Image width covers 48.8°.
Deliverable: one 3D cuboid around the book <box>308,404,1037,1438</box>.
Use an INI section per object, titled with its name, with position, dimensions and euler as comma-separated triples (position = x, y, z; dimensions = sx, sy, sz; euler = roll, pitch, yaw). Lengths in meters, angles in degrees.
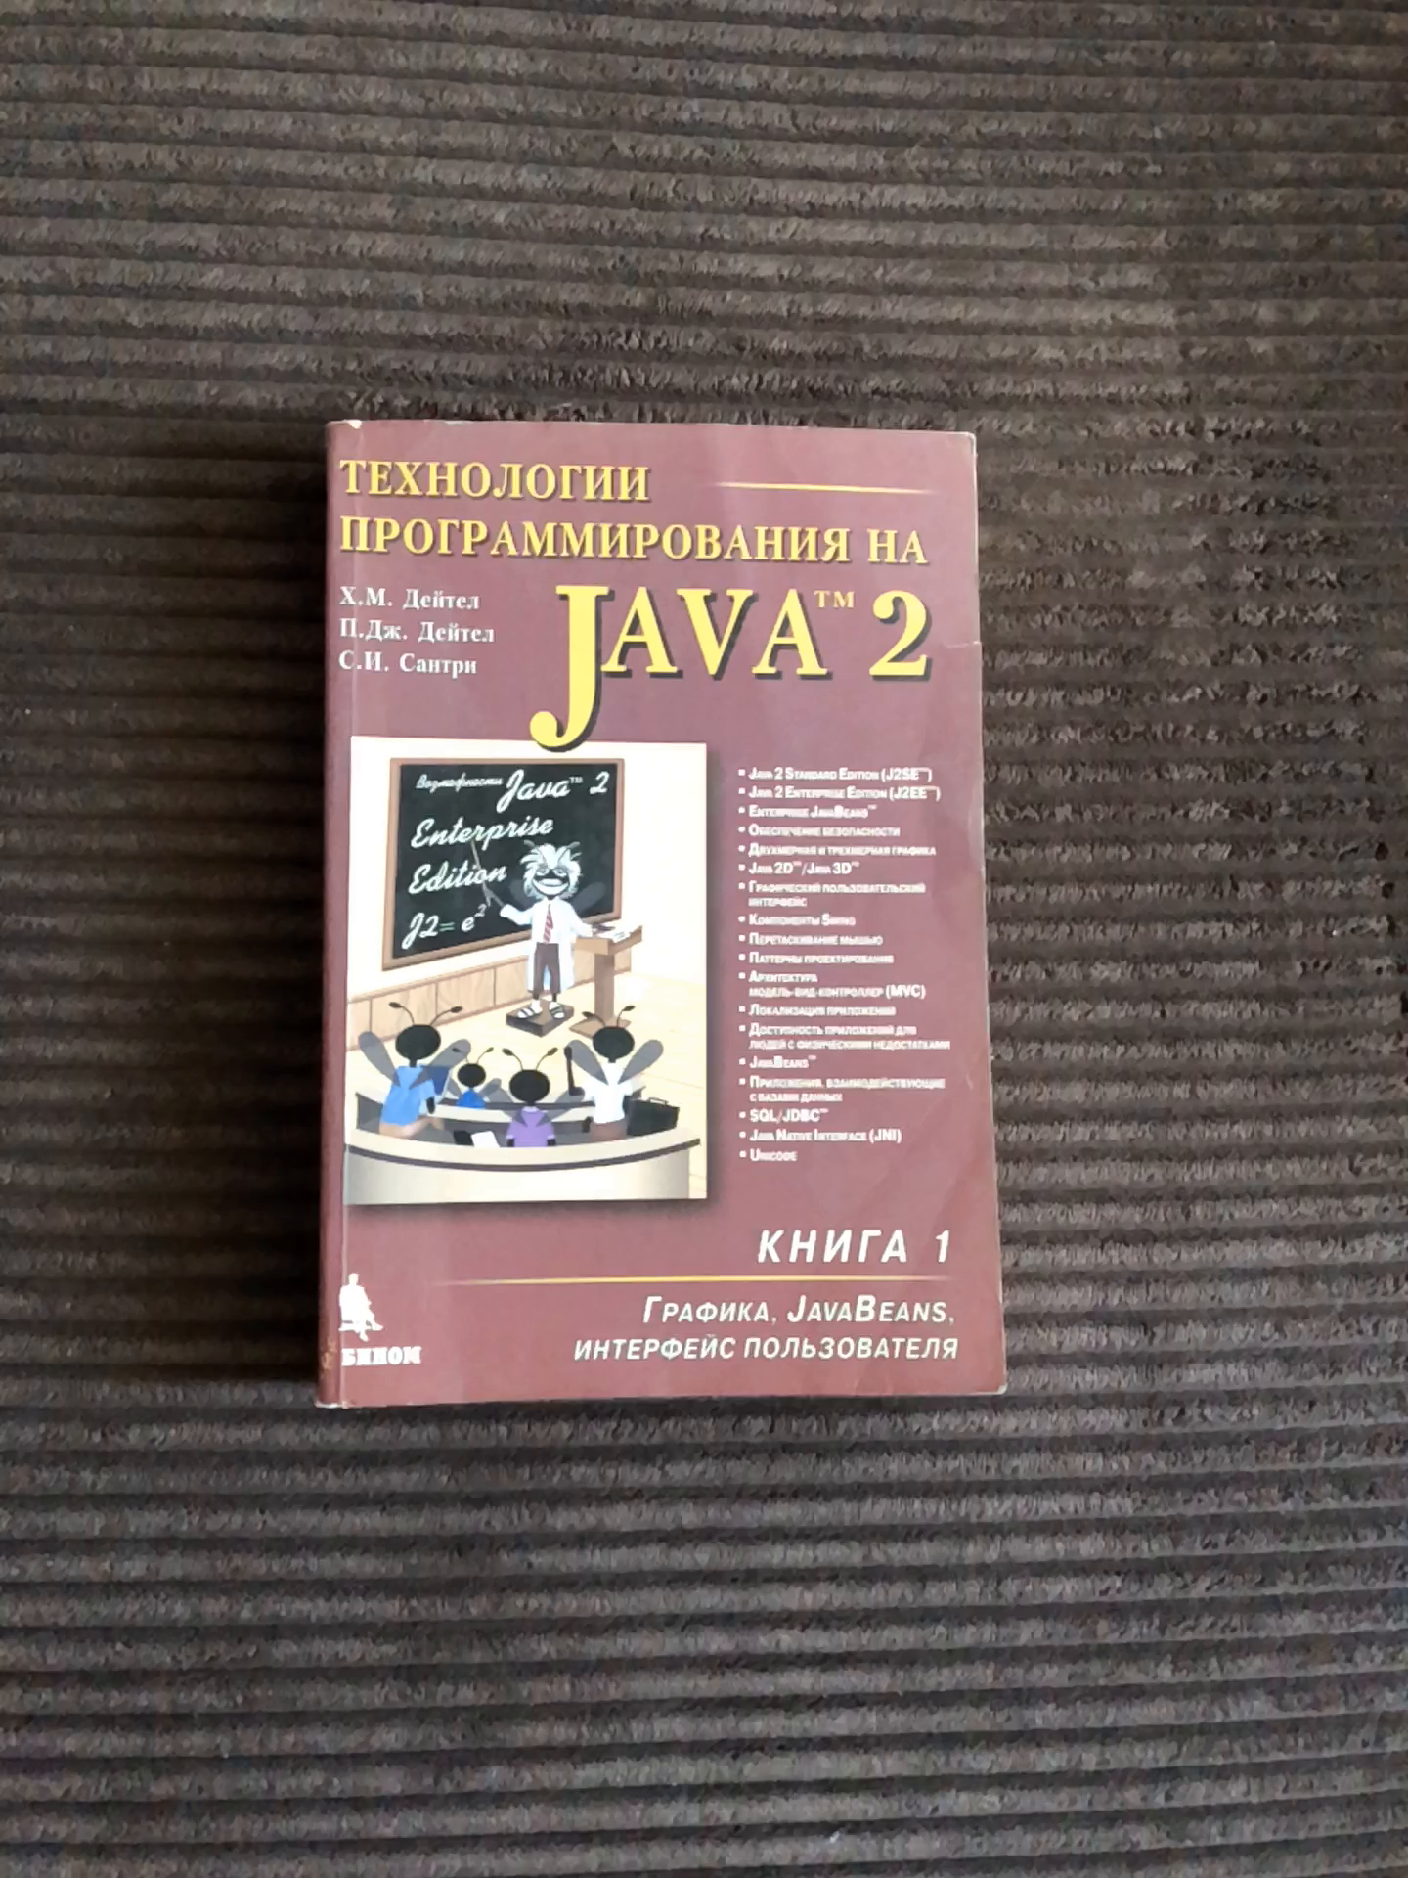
[book]
position = -0.011, -0.007, 0.389
dimensions = 0.165, 0.050, 0.240
euler = -1, 83, -5
